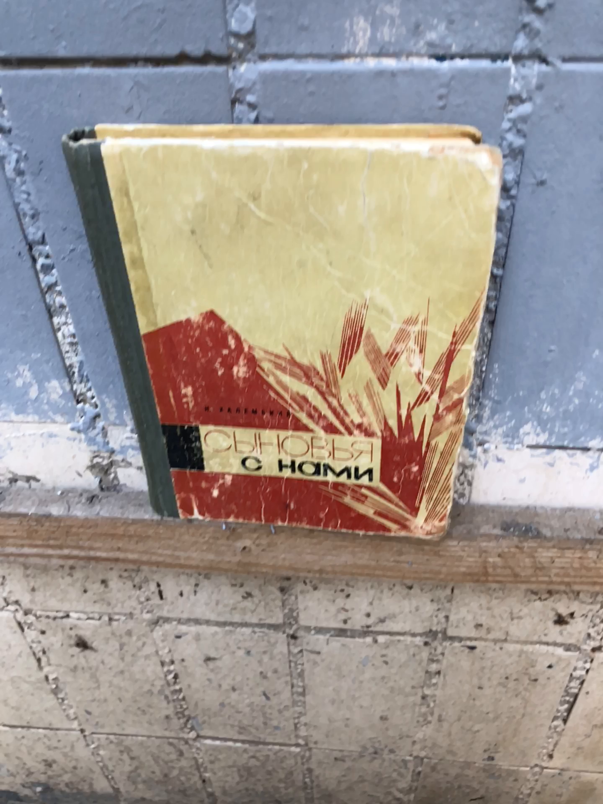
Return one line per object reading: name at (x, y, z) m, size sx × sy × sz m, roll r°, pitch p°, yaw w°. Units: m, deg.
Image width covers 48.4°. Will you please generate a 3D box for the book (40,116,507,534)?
book at (-0.007, -0.019, 0.244) m, size 0.135 × 0.156 × 0.020 m, roll 2°, pitch 35°, yaw 7°
